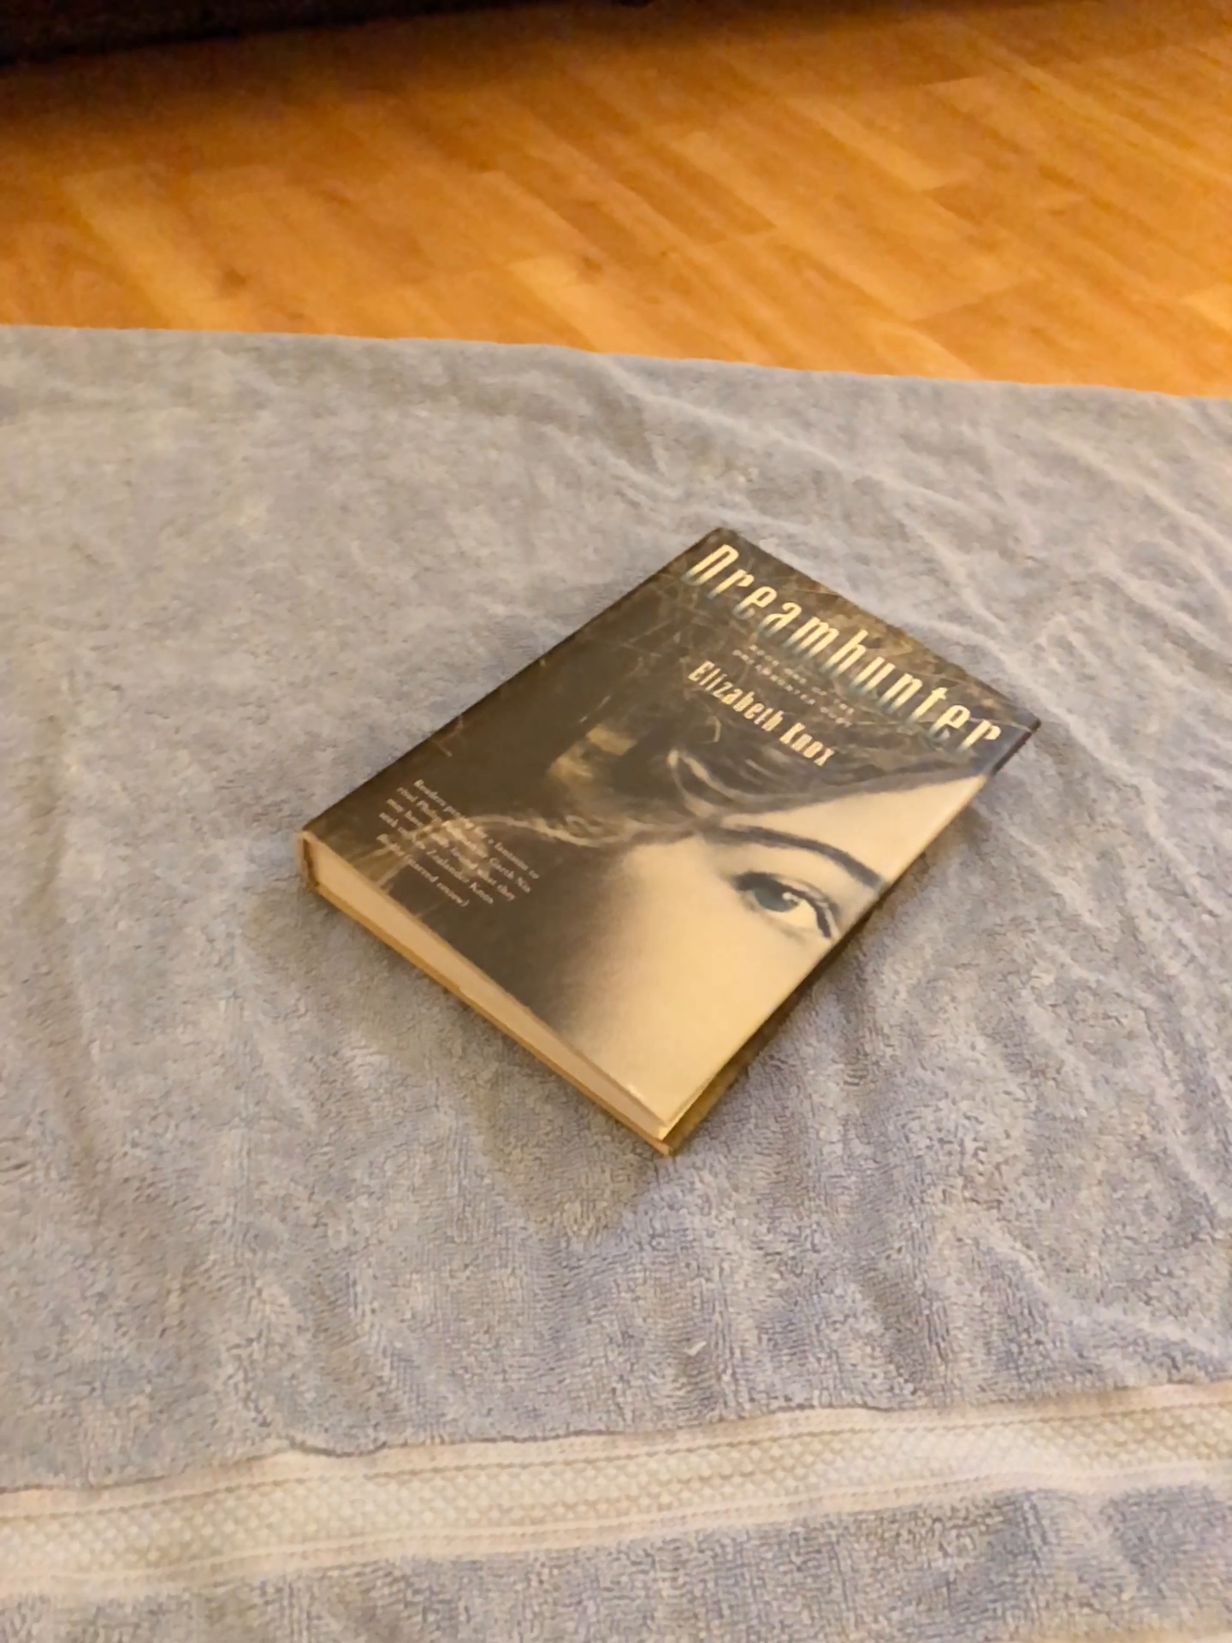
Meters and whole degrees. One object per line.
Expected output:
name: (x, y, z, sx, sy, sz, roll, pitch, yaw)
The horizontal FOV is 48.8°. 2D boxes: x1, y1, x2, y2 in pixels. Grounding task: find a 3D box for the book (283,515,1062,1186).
book: (0.028, -0.010, 0.472, 0.163, 0.030, 0.226, 36, 53, 20)
